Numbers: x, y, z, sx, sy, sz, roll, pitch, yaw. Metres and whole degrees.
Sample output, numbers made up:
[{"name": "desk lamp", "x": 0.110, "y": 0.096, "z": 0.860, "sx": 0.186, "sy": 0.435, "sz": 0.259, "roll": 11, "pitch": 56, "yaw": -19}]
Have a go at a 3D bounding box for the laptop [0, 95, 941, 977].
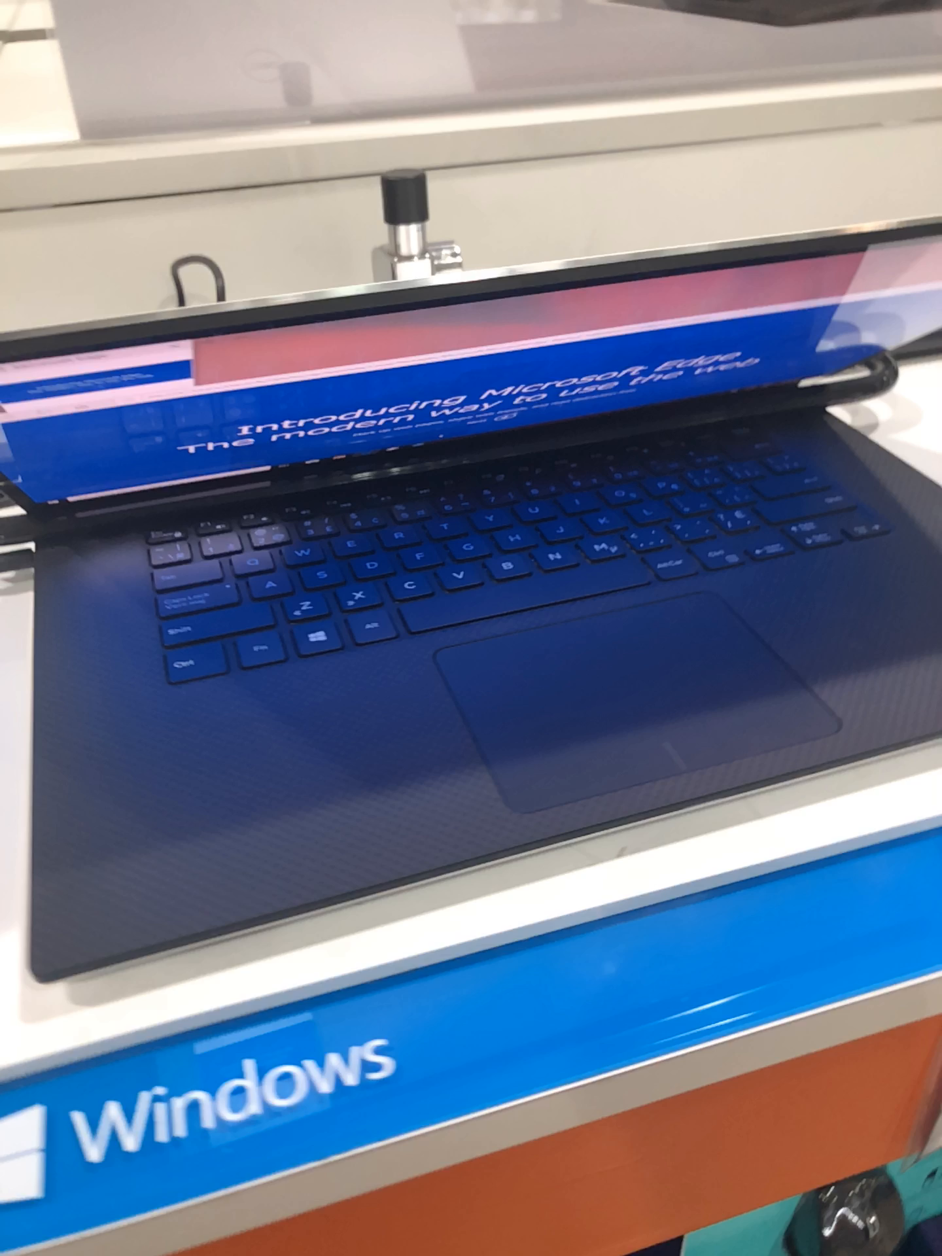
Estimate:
[{"name": "laptop", "x": 0.026, "y": -0.068, "z": 0.335, "sx": 0.345, "sy": 0.133, "sz": 0.218, "roll": -13, "pitch": 37, "yaw": -15}]
